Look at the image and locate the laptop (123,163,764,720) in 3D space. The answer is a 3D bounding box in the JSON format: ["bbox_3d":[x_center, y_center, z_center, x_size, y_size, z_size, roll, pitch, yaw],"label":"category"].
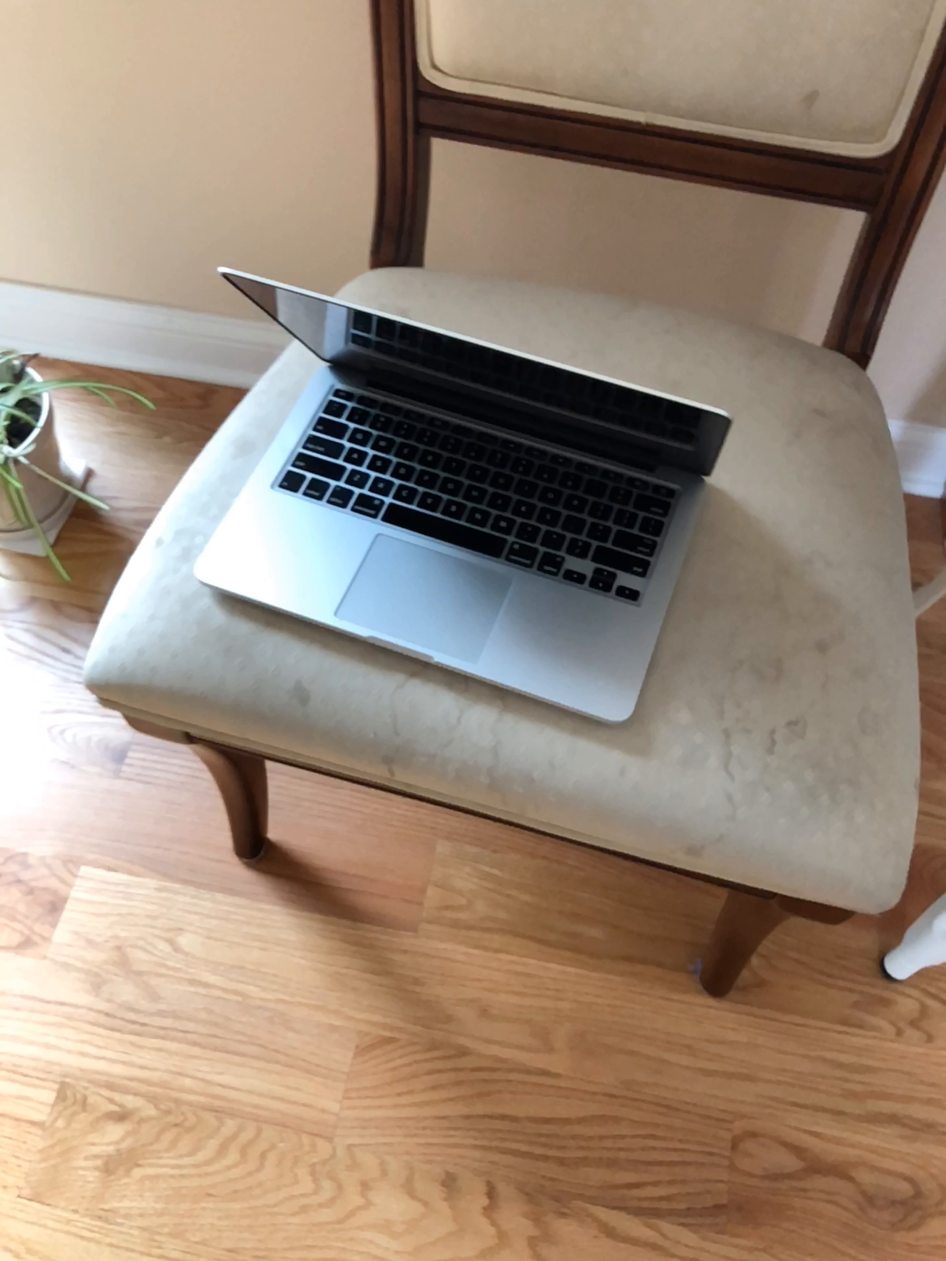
[{"bbox_3d":[-0.008,-0.124,0.674,0.309,0.183,0.219,18,59,10],"label":"laptop"}]
